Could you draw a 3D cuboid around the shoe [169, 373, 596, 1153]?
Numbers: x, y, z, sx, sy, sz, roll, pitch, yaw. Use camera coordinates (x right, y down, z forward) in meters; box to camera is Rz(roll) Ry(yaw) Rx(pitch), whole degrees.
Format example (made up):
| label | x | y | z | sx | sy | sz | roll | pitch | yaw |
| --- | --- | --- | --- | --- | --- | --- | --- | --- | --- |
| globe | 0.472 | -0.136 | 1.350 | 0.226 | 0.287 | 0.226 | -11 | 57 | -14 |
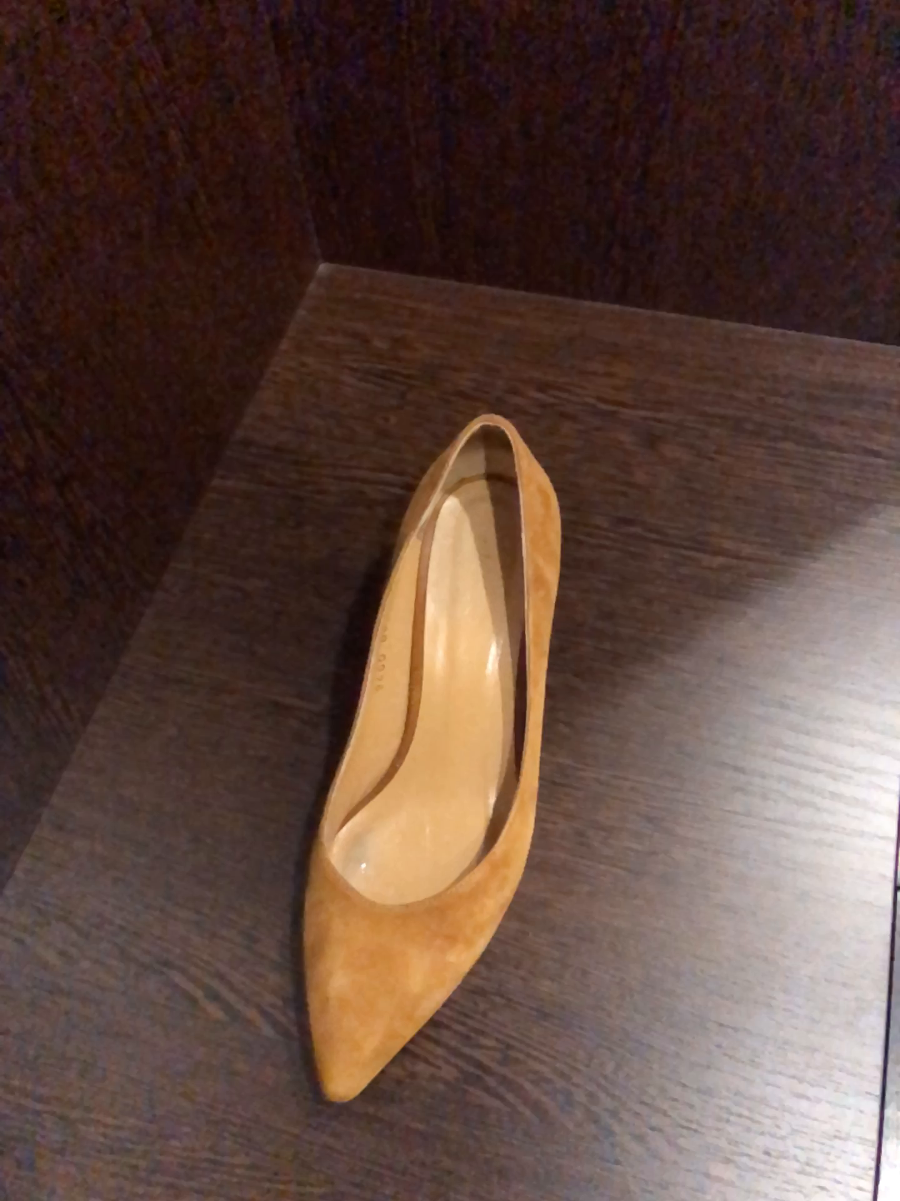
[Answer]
| label | x | y | z | sx | sy | sz | roll | pitch | yaw |
| --- | --- | --- | --- | --- | --- | --- | --- | --- | --- |
| shoe | -0.007 | 0.050 | 0.386 | 0.090 | 0.100 | 0.270 | 7 | 60 | 9 |
